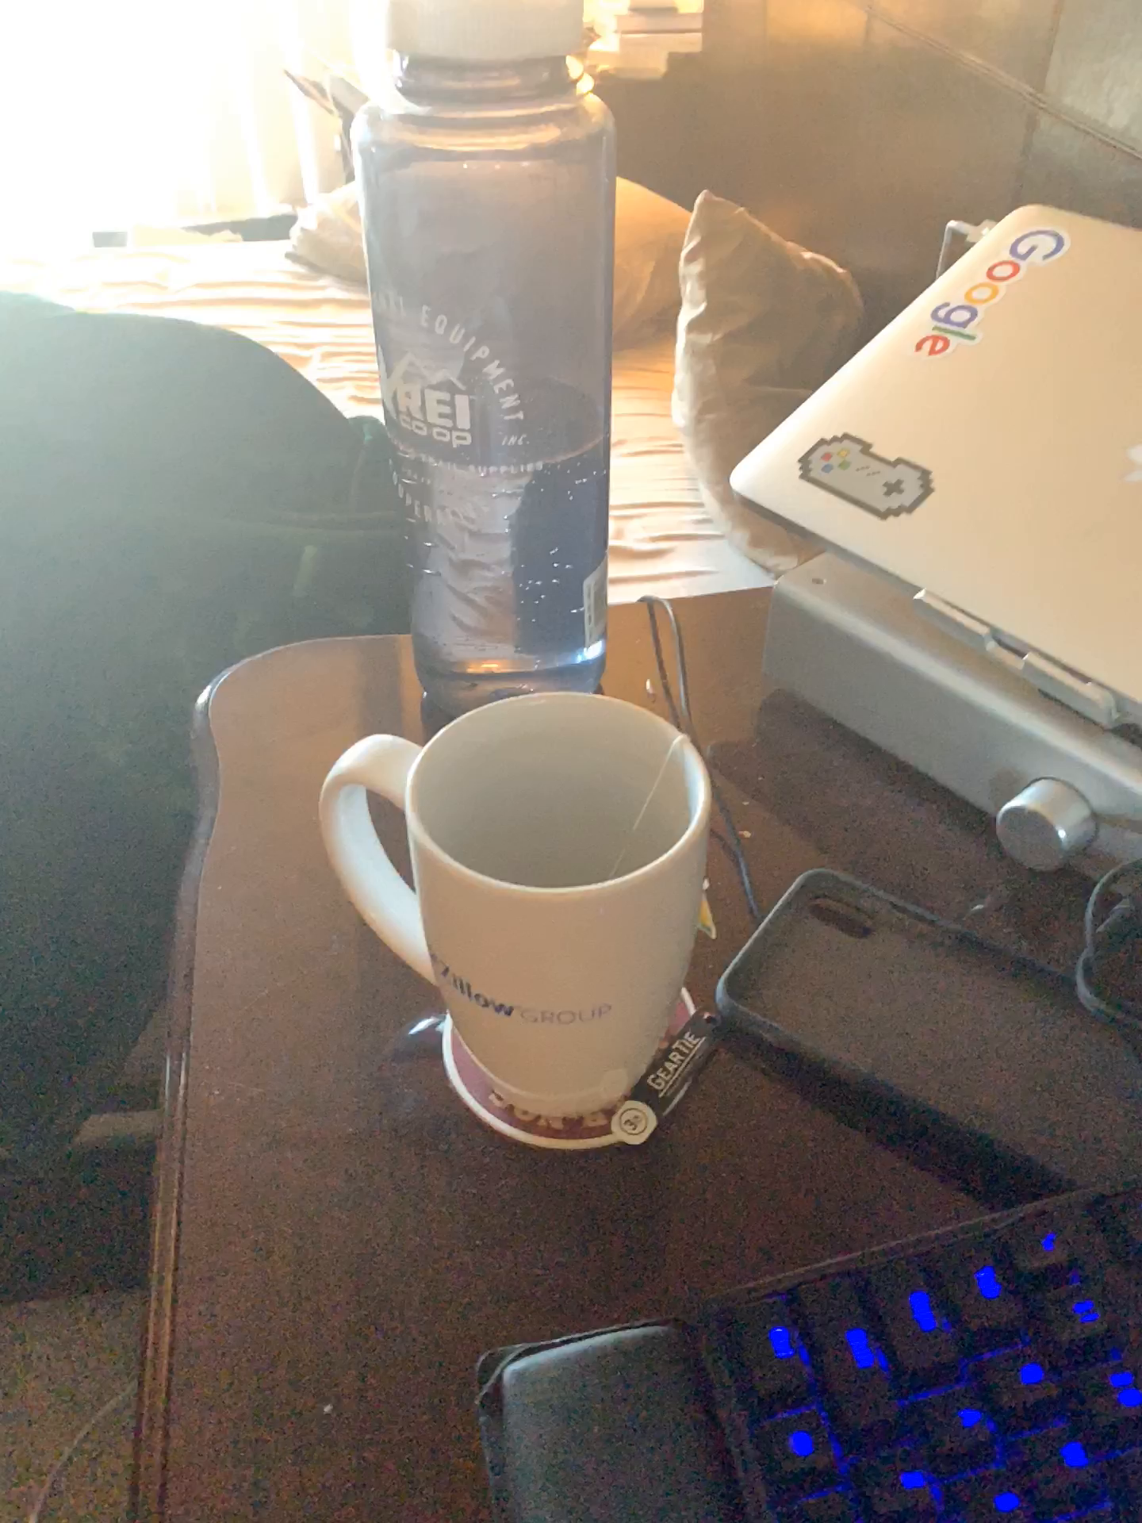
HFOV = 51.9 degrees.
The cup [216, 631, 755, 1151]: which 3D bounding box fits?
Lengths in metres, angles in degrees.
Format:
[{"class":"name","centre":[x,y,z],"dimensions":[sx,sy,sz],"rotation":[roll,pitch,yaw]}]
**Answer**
[{"class":"cup","centre":[-0.018,0.037,0.366],"dimensions":[0.130,0.099,0.101],"rotation":[8,42,10]}]
